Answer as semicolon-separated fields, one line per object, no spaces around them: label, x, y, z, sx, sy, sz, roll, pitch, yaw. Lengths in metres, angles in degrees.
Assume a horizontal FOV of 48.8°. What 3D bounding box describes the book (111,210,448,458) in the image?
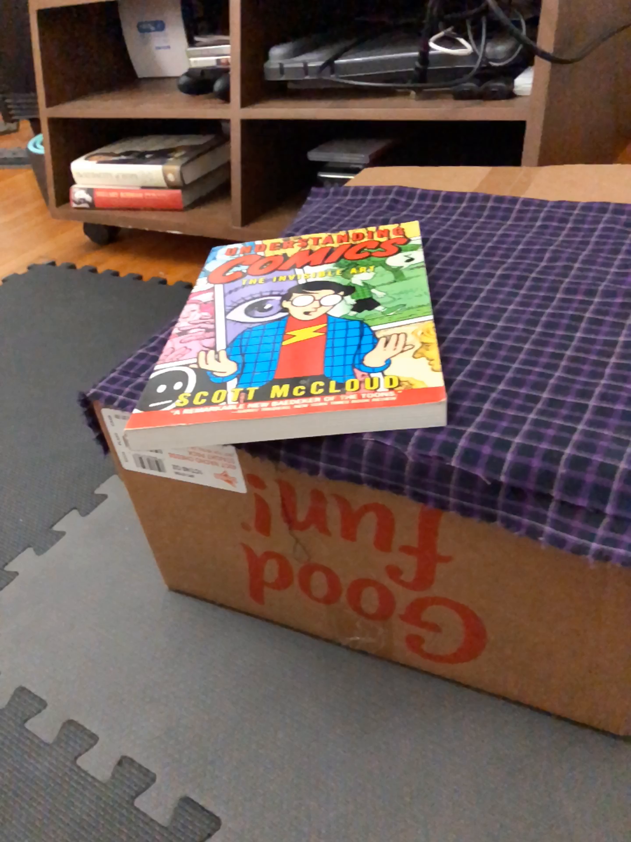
book;-0.012;-0.074;0.461;0.170;0.020;0.272;-5;35;8
